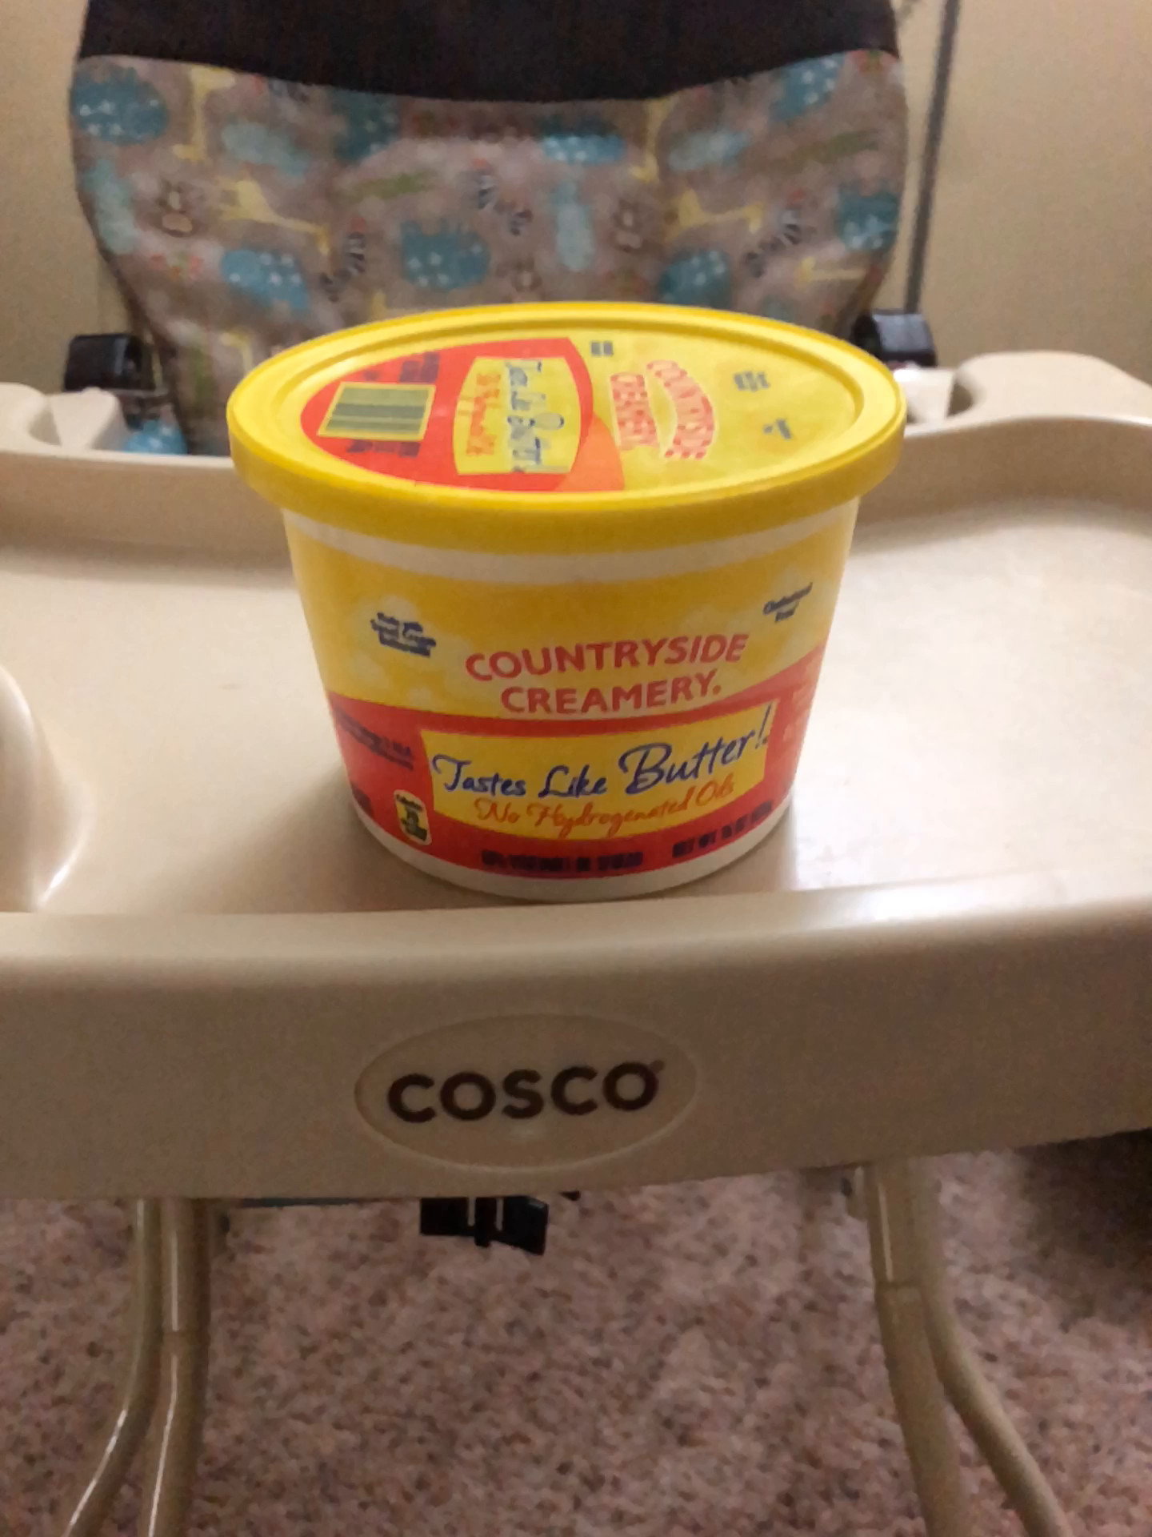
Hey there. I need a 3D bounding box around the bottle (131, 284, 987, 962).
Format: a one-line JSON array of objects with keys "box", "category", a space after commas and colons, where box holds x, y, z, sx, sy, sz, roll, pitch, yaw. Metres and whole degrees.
[{"box": [-0.003, -0.034, 0.252, 0.120, 0.090, 0.110, 0, 33, 0], "category": "bottle"}]
